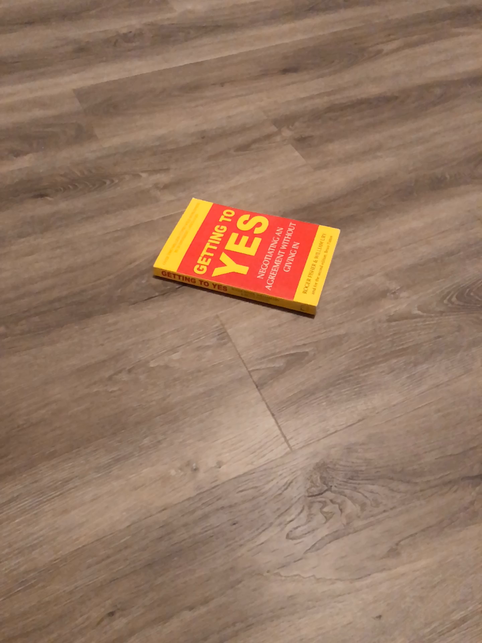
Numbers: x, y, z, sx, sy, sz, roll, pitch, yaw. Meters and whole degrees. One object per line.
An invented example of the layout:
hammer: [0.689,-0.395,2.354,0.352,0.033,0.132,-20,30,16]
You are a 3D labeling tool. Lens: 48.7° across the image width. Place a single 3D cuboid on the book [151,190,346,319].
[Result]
book: [0.012,-0.083,0.611,0.190,0.026,0.130,14,54,10]
